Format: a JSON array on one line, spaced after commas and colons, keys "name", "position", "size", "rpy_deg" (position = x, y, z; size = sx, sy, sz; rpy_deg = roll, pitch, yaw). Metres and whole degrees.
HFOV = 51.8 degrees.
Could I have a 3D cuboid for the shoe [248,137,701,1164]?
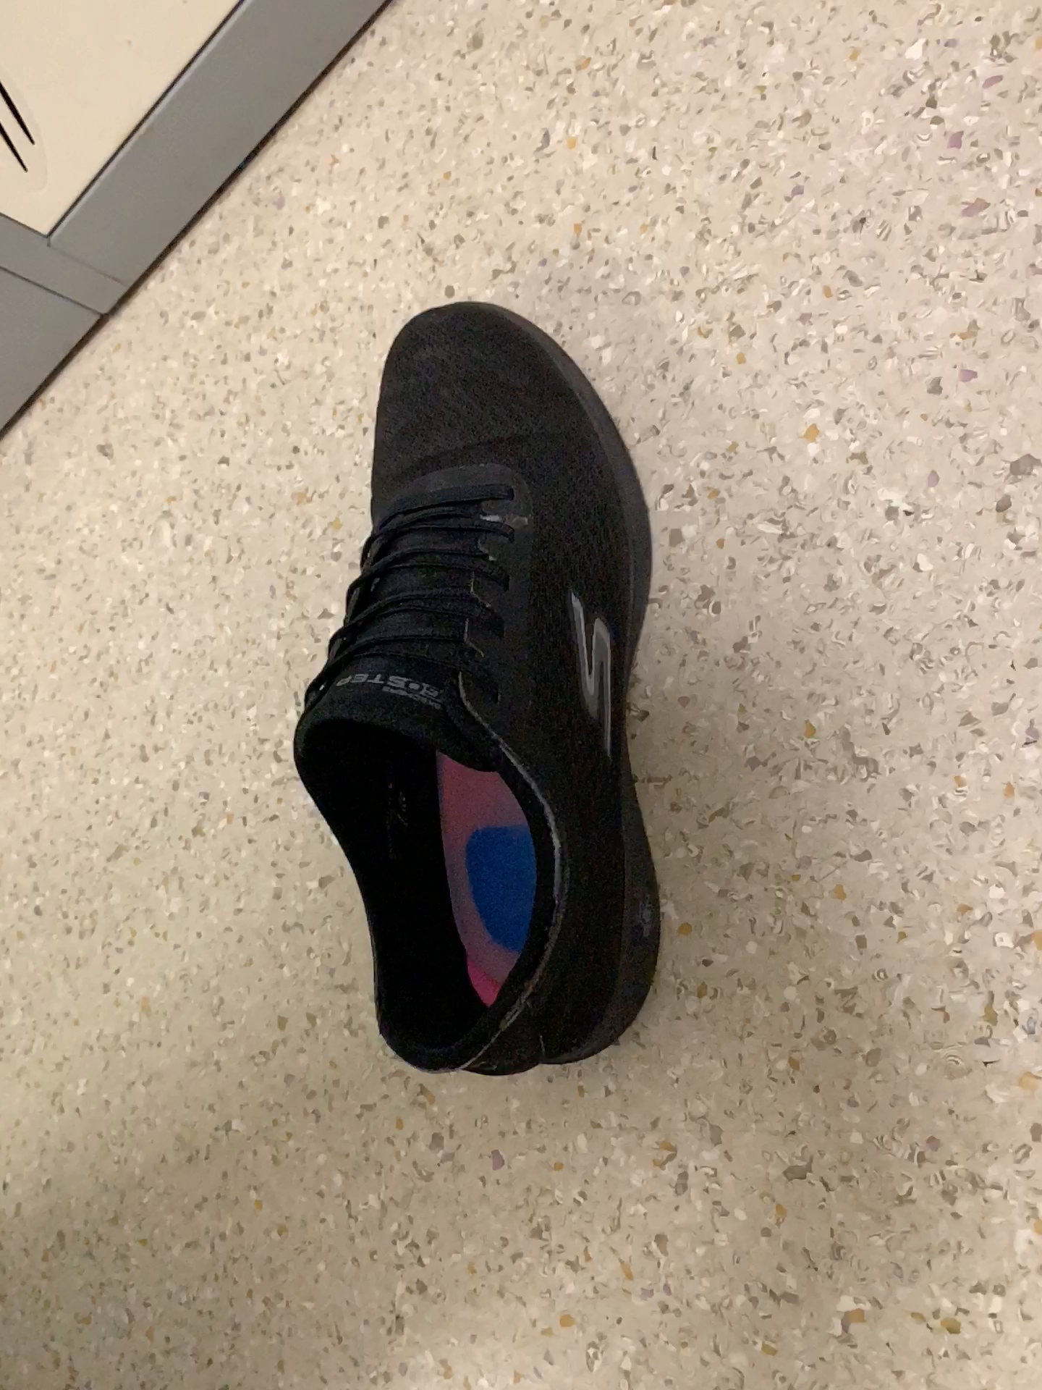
[{"name": "shoe", "position": [-0.016, -0.011, 0.357], "size": [0.104, 0.099, 0.280], "rpy_deg": [-7, 81, 30]}]
